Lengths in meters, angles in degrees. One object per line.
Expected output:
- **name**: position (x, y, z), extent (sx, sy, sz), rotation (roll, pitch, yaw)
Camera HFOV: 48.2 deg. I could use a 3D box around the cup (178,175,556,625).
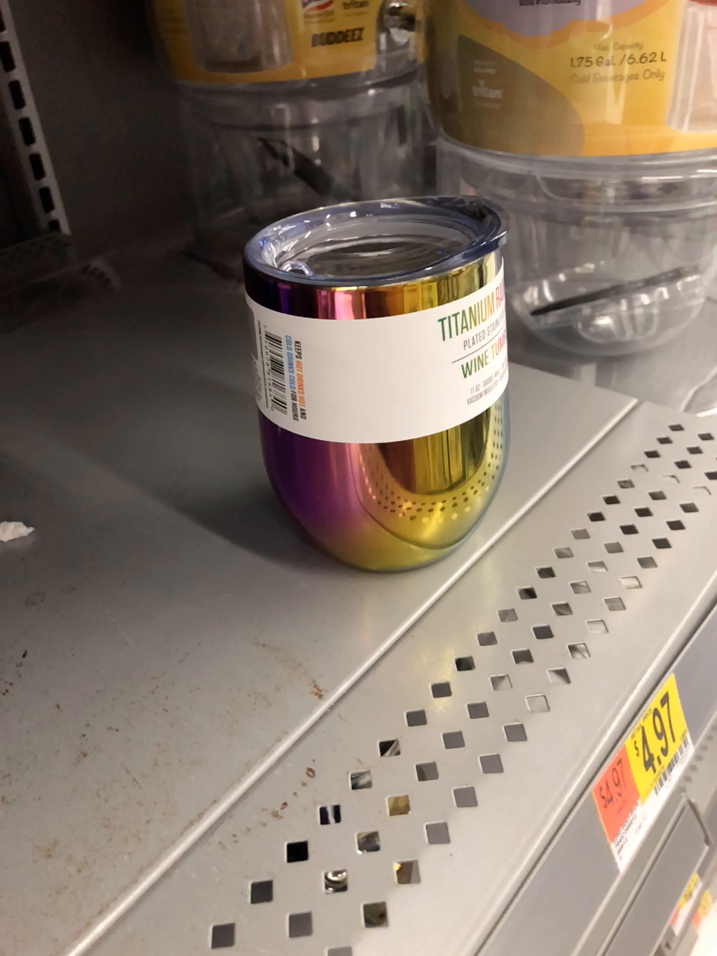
- **cup**: position (0.007, -0.031, 0.270), extent (0.076, 0.108, 0.086), rotation (22, 43, 31)
